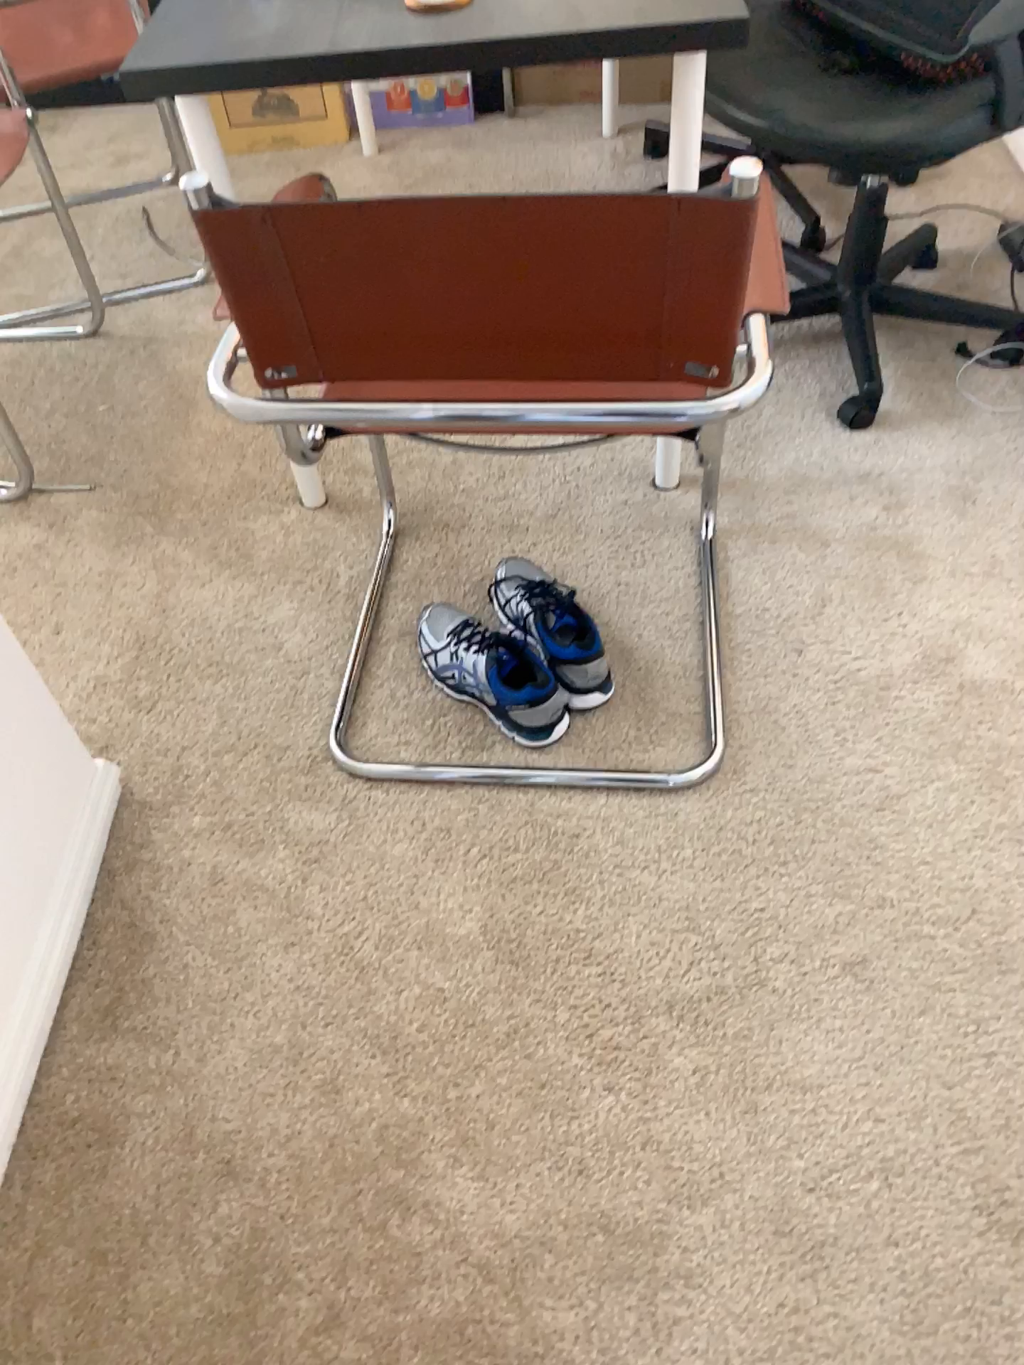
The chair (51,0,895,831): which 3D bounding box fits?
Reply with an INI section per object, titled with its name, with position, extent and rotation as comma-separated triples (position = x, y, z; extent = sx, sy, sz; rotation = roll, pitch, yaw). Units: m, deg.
[chair]
position = 0.014, -0.319, 1.263
extent = 0.620, 0.806, 0.623
rotation = 2, 50, 7
